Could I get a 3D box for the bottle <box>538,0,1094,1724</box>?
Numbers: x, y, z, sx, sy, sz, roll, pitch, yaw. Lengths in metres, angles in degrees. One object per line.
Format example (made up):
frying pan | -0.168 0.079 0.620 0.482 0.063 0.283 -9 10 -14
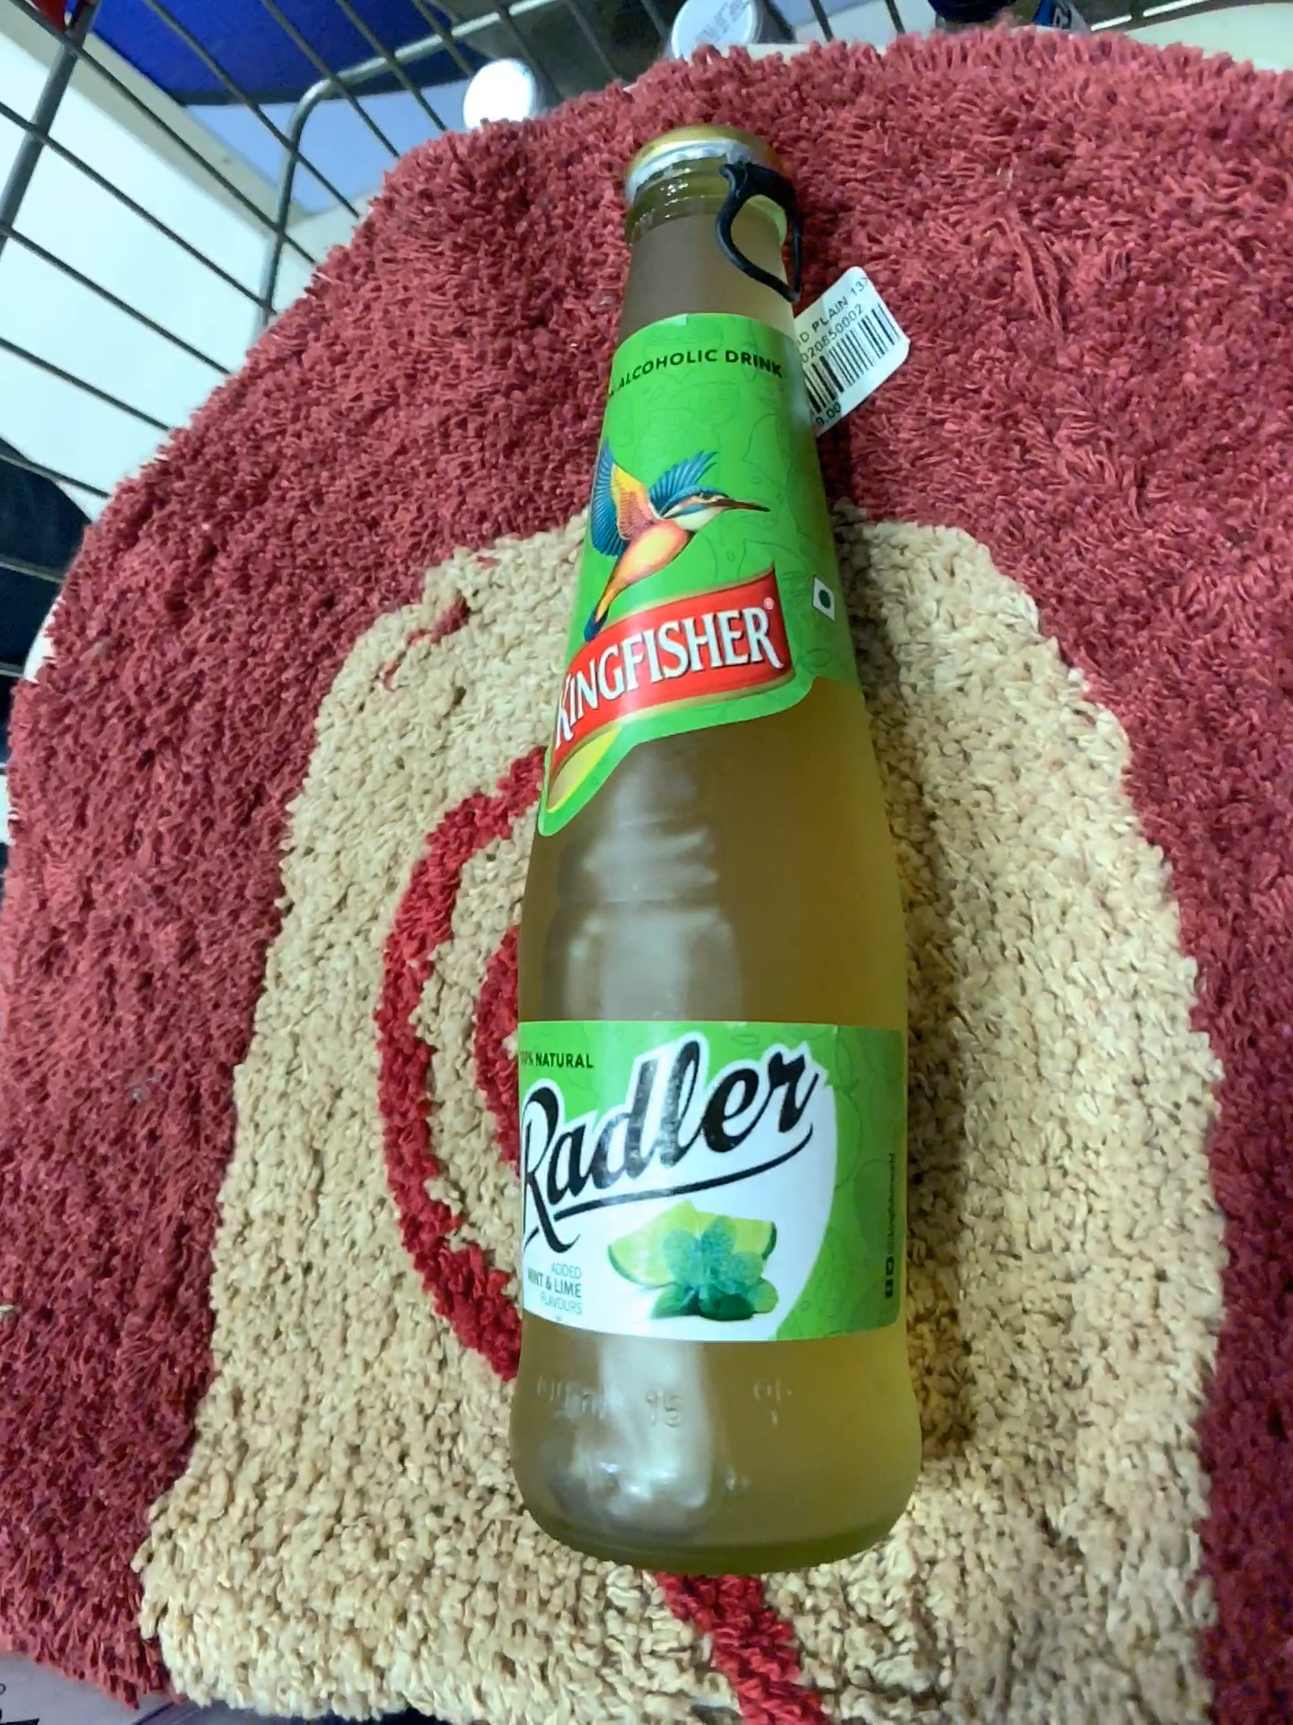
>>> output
bottle | 0.029 -0.016 0.206 0.060 0.060 0.240 -3 80 27
